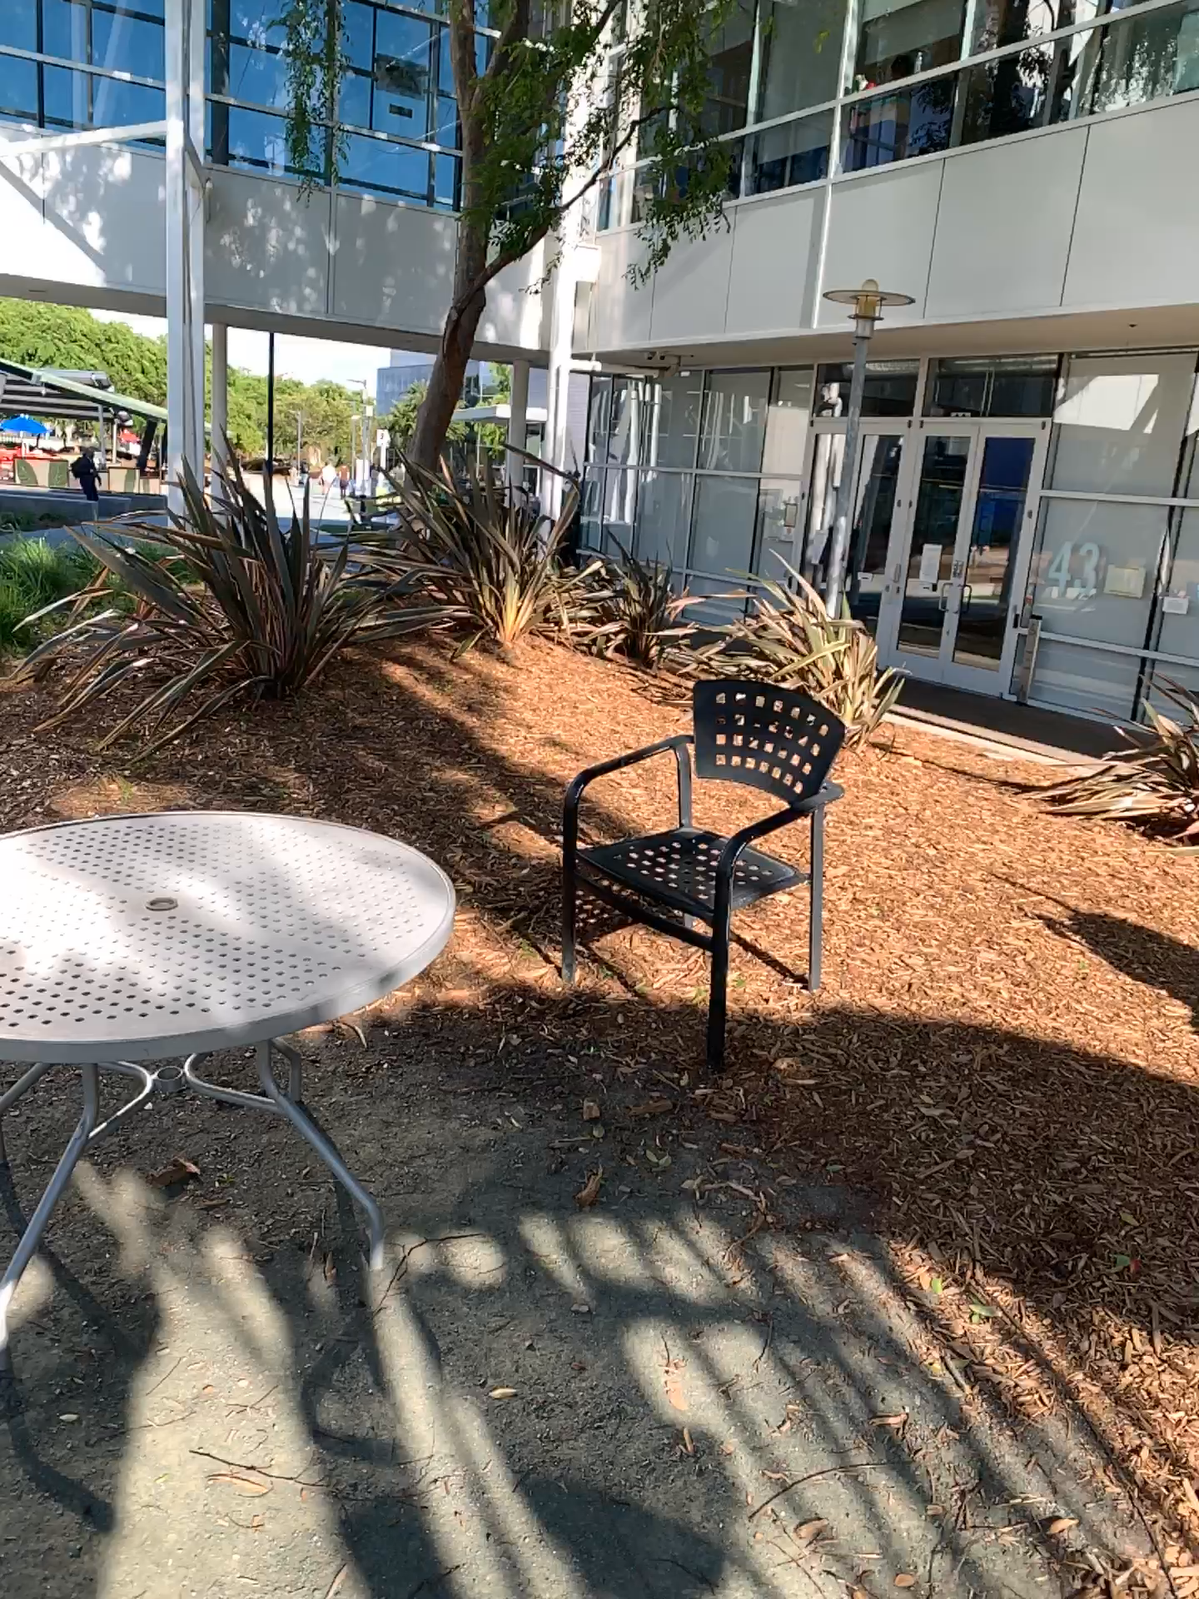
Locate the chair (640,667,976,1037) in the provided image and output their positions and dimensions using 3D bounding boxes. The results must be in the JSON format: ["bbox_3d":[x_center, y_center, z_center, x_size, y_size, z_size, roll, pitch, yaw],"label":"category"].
[{"bbox_3d":[0.491,0.087,2.967,0.501,0.717,0.521,-8,19,-41],"label":"chair"}]
